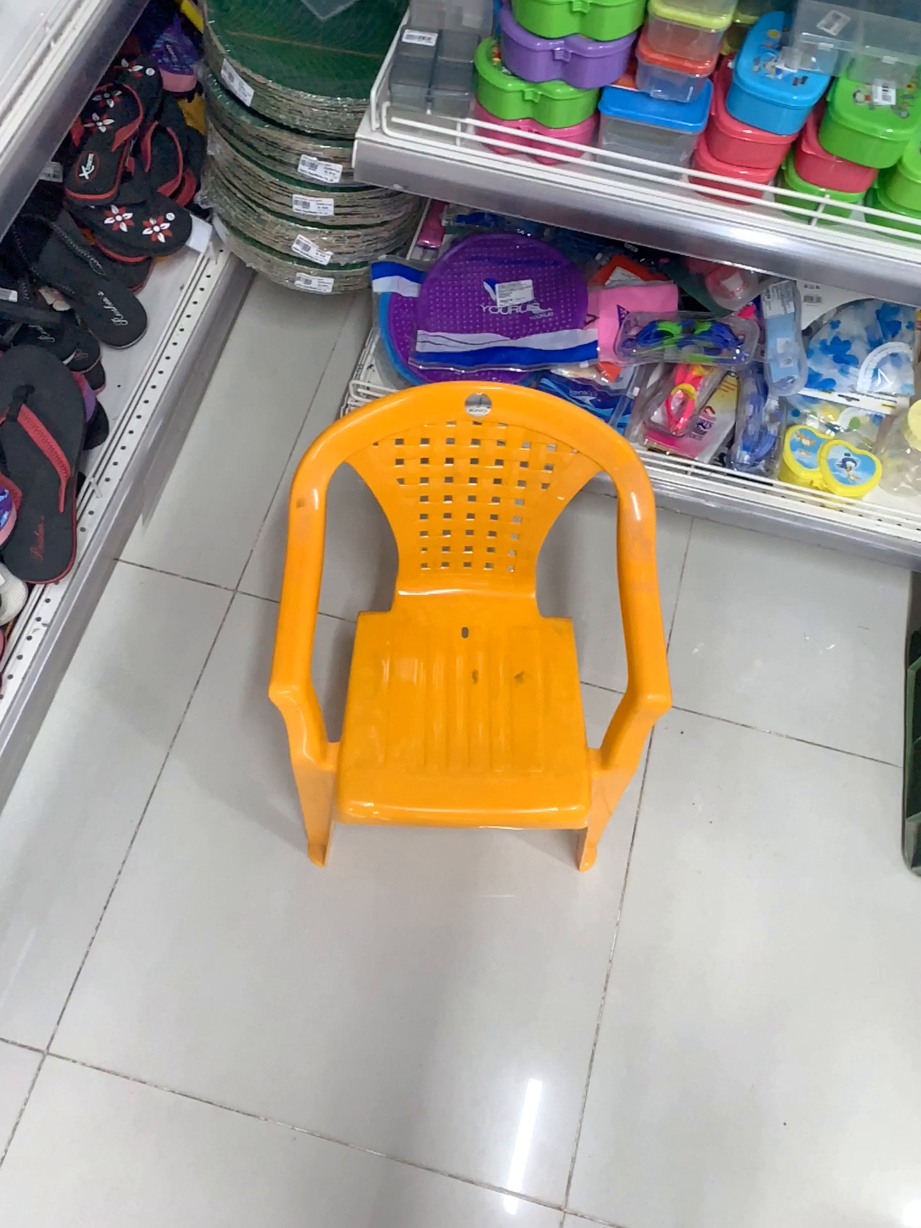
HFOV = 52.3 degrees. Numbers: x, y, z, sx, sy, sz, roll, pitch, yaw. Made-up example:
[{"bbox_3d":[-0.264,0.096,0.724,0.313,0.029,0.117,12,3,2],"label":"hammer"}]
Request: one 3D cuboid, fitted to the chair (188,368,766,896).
[{"bbox_3d":[0.008,0.057,0.932,0.400,0.460,0.360,2,66,-1],"label":"chair"}]
